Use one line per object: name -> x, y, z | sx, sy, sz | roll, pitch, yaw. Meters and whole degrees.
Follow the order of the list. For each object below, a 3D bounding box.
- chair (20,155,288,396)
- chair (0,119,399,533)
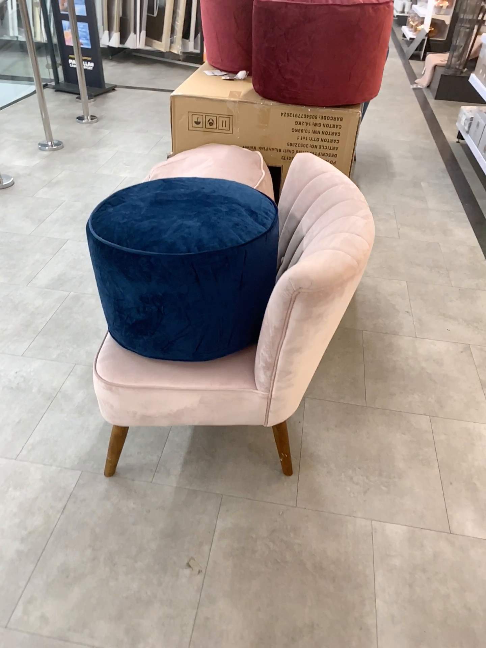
chair -> -0.178, -0.154, 1.294 | 0.504, 0.363, 0.479 | 9, 38, 8
chair -> -0.072, -0.008, 1.386 | 0.744, 0.848, 0.661 | 7, 38, 5
